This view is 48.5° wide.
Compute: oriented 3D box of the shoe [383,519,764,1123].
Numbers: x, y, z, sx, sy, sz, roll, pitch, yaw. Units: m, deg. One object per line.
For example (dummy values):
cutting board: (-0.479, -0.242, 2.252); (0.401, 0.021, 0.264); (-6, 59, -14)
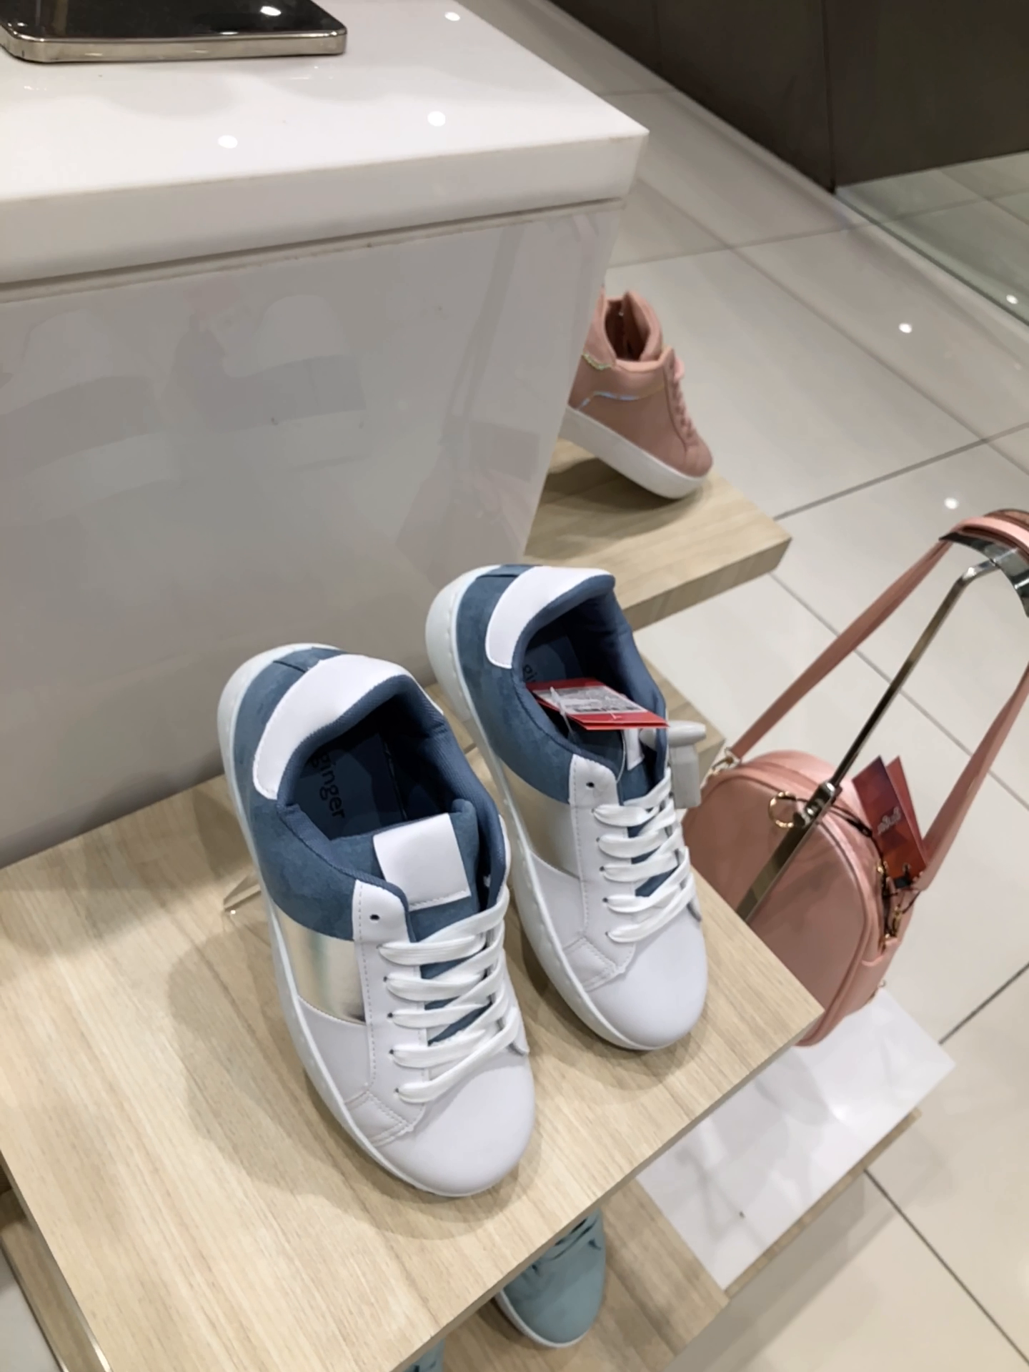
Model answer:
shoe: (0.033, 0.060, 0.558); (0.101, 0.259, 0.090); (-23, 18, -34)

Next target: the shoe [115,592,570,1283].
shoe: (-0.069, 0.099, 0.492); (0.101, 0.259, 0.090); (-23, 18, -34)
